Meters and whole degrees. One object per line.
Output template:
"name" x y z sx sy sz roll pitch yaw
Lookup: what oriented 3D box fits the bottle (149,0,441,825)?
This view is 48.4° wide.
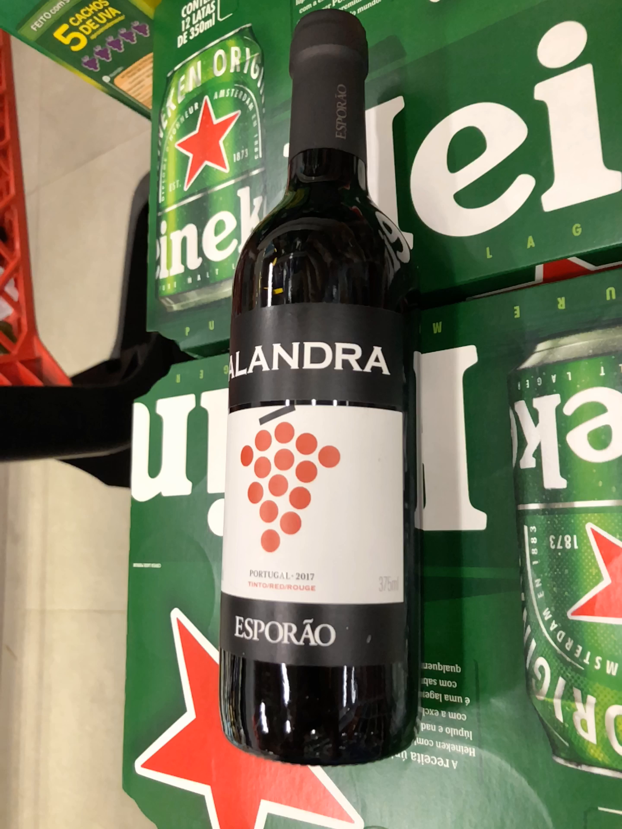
"bottle" 0.002 -0.025 0.206 0.060 0.060 0.240 -2 80 23
